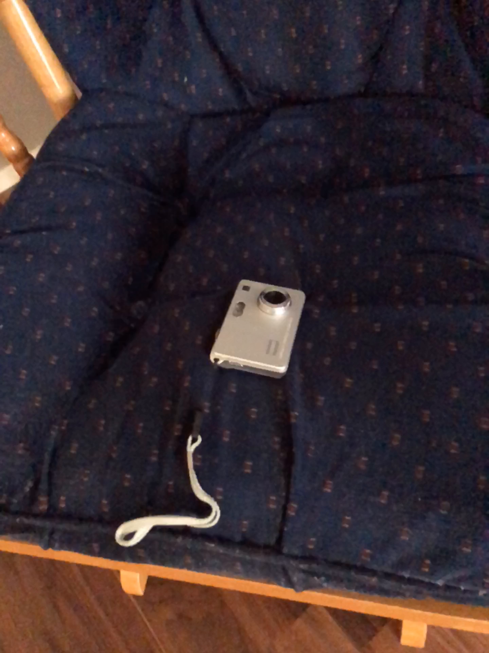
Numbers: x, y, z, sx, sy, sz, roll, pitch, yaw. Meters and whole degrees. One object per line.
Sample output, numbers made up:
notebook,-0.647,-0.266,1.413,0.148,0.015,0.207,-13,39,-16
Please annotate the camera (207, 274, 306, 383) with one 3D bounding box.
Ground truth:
camera,0.011,-0.001,0.416,0.058,0.018,0.085,11,49,9
